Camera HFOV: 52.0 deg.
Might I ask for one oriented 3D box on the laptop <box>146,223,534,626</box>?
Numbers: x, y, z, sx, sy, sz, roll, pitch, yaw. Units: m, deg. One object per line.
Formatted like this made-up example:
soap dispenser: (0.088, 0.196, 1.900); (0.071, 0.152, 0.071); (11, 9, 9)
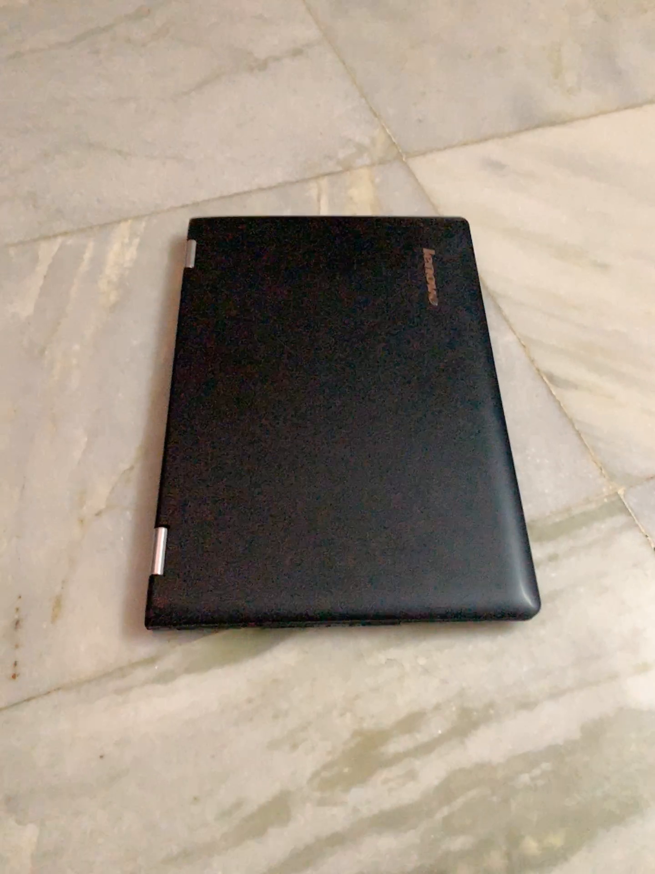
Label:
laptop: (0.005, -0.035, 0.468); (0.223, 0.001, 0.325); (0, 60, -2)
